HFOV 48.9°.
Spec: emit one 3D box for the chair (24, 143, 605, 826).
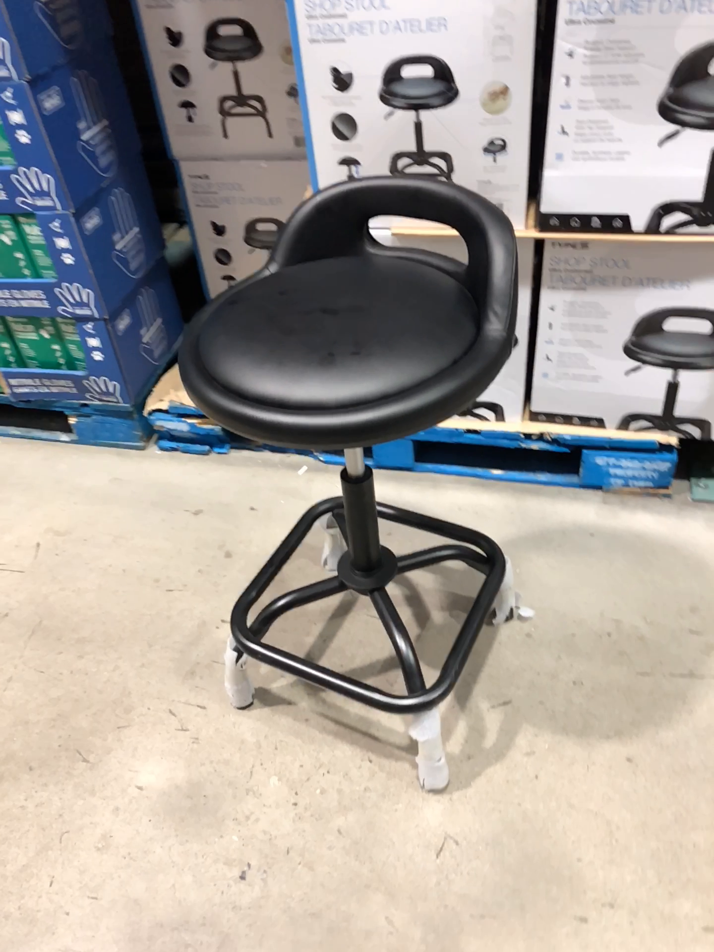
[{"bbox_3d":[0.010,0.003,1.141,0.481,0.747,0.511,15,45,23],"label":"chair"}]
